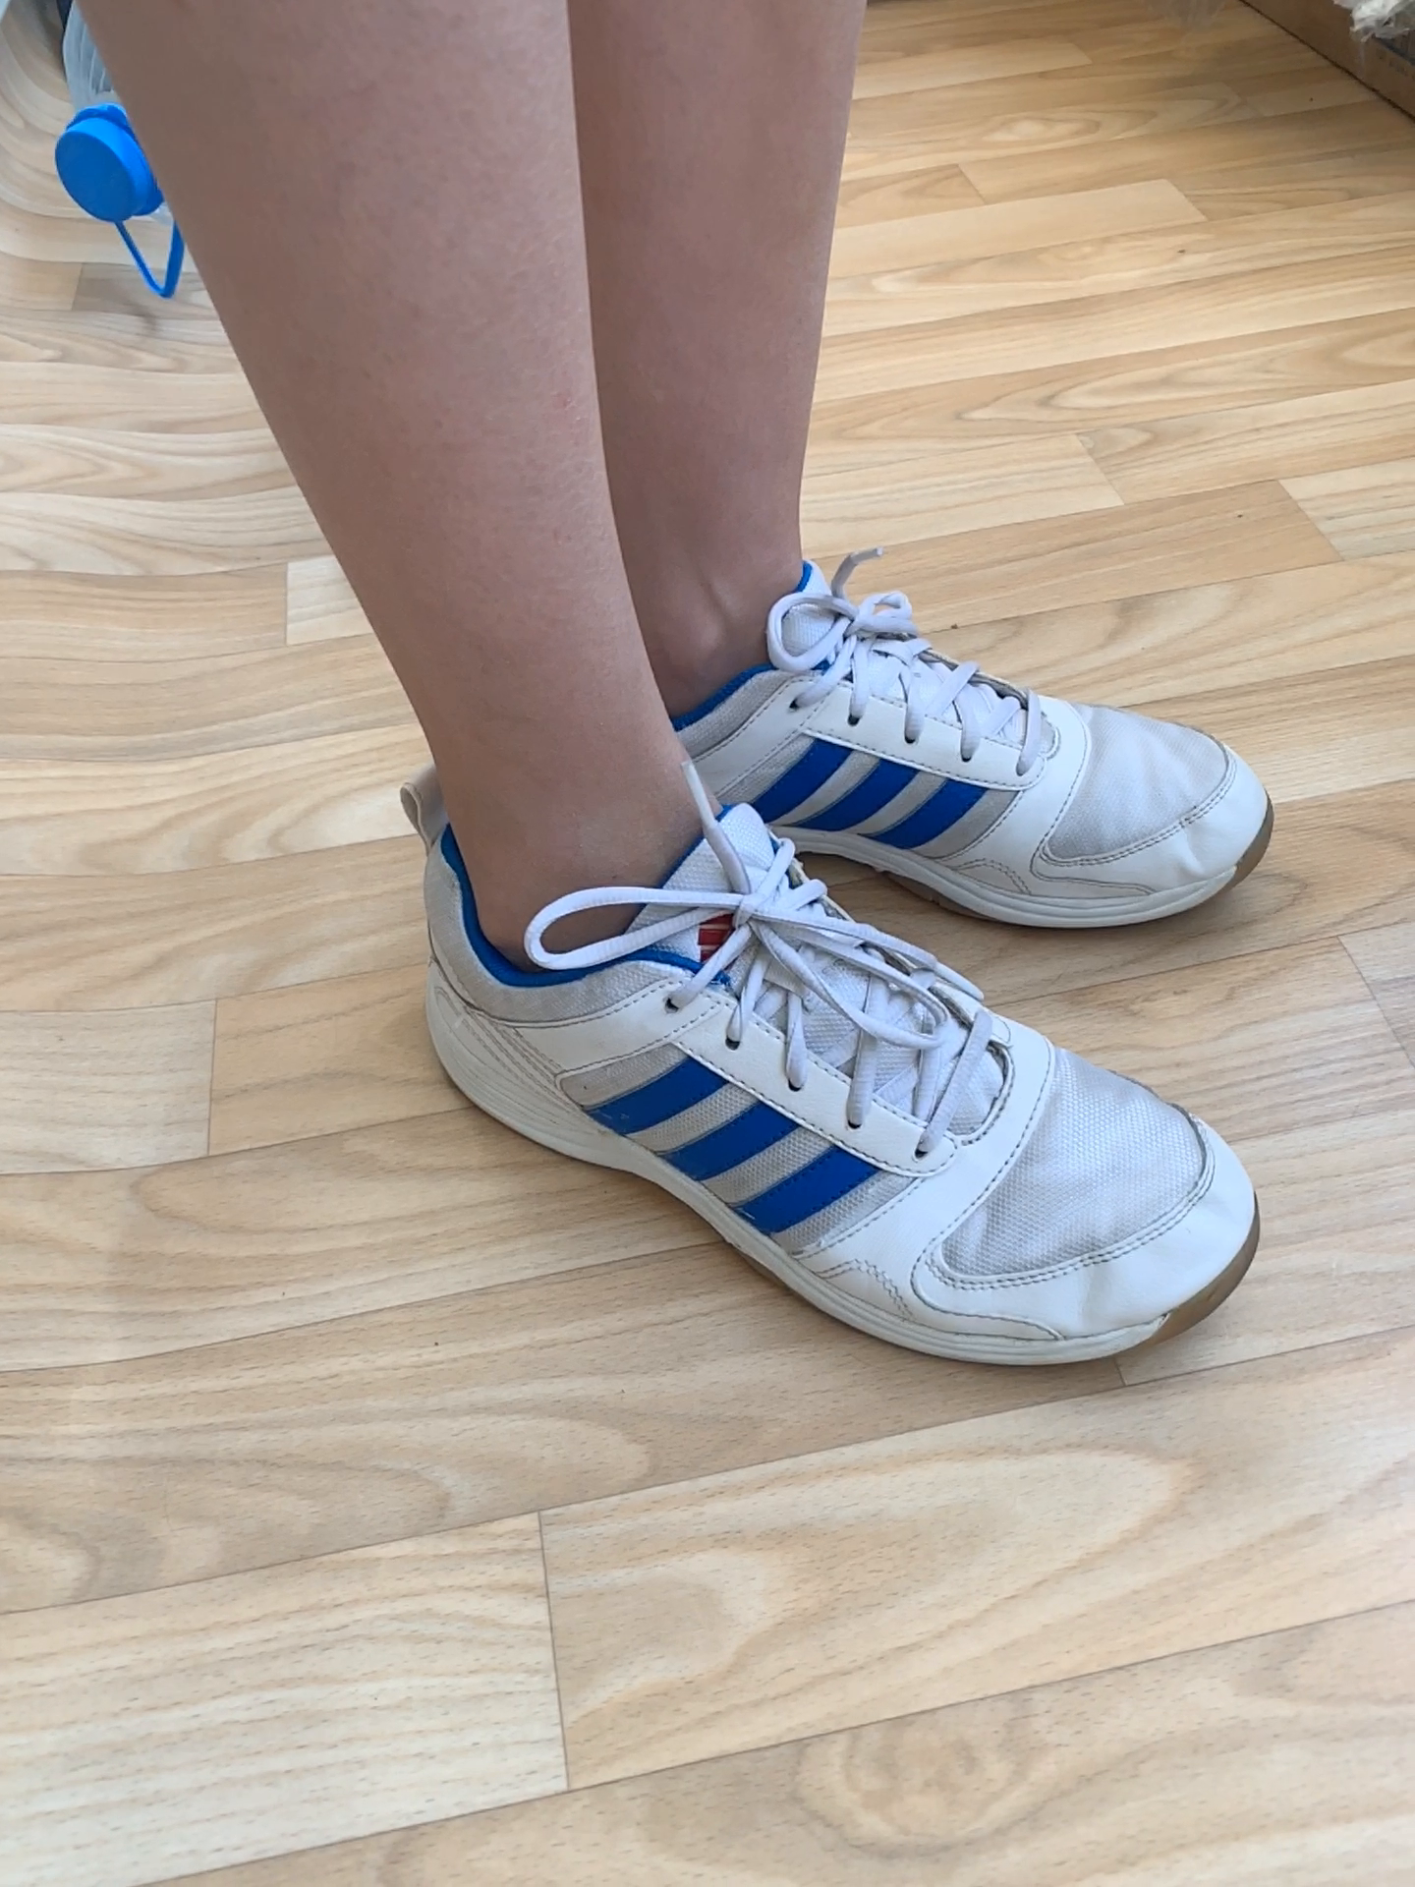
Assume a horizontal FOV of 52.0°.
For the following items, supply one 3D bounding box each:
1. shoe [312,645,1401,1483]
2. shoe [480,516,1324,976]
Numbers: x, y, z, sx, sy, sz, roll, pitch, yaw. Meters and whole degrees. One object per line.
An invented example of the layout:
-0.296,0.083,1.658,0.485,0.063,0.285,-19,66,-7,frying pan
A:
0.034,0.025,0.416,0.261,0.119,0.100,21,54,23,shoe
0.067,-0.074,0.510,0.260,0.090,0.100,8,49,13,shoe
